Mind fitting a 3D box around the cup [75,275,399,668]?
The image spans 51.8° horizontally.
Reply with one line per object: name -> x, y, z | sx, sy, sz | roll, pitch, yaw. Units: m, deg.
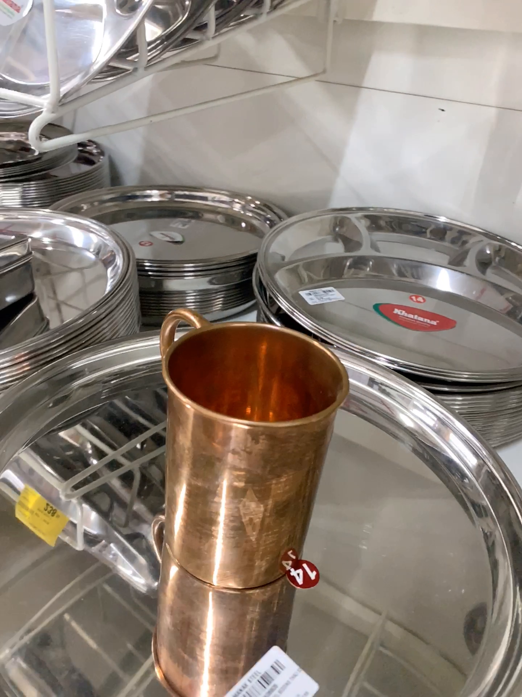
cup -> -0.019, 0.051, 0.271 | 0.080, 0.119, 0.130 | -23, 42, -35
